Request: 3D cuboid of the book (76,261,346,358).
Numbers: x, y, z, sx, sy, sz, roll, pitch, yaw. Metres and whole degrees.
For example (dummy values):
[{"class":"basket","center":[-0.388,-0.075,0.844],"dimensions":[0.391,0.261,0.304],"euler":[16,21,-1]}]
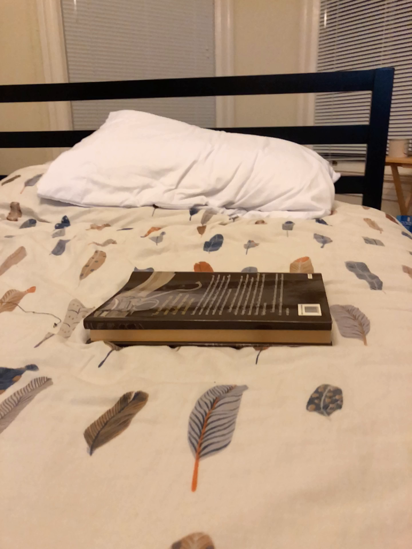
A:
[{"class":"book","center":[0.014,0.027,0.488],"dimensions":[0.240,0.030,0.181],"euler":[2,17,9]}]
